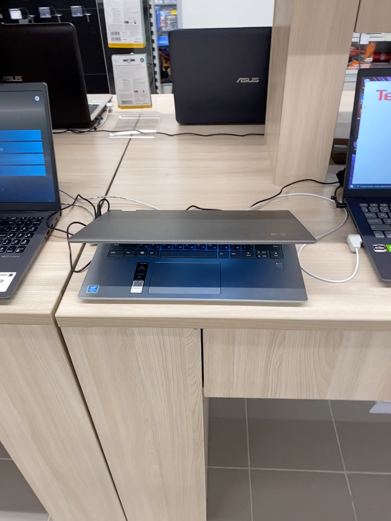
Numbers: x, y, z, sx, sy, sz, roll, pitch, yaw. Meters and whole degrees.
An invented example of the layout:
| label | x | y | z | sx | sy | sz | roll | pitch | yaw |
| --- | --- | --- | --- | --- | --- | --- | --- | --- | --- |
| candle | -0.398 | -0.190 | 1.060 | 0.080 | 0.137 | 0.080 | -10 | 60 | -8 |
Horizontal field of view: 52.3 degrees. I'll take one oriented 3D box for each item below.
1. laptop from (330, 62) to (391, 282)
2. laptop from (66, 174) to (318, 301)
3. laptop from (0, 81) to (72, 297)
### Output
| label | x | y | z | sx | sy | sz | roll | pitch | yaw |
| --- | --- | --- | --- | --- | --- | --- | --- | --- | --- |
| laptop | 0.469 | -0.152 | 0.624 | 0.389 | 0.215 | 0.304 | -1 | 39 | 1 |
| laptop | 0.000 | -0.048 | 0.624 | 0.325 | 0.082 | 0.219 | 1 | 39 | 4 |
| laptop | -0.438 | -0.130 | 0.632 | 0.352 | 0.212 | 0.309 | 1 | 38 | 3 |
